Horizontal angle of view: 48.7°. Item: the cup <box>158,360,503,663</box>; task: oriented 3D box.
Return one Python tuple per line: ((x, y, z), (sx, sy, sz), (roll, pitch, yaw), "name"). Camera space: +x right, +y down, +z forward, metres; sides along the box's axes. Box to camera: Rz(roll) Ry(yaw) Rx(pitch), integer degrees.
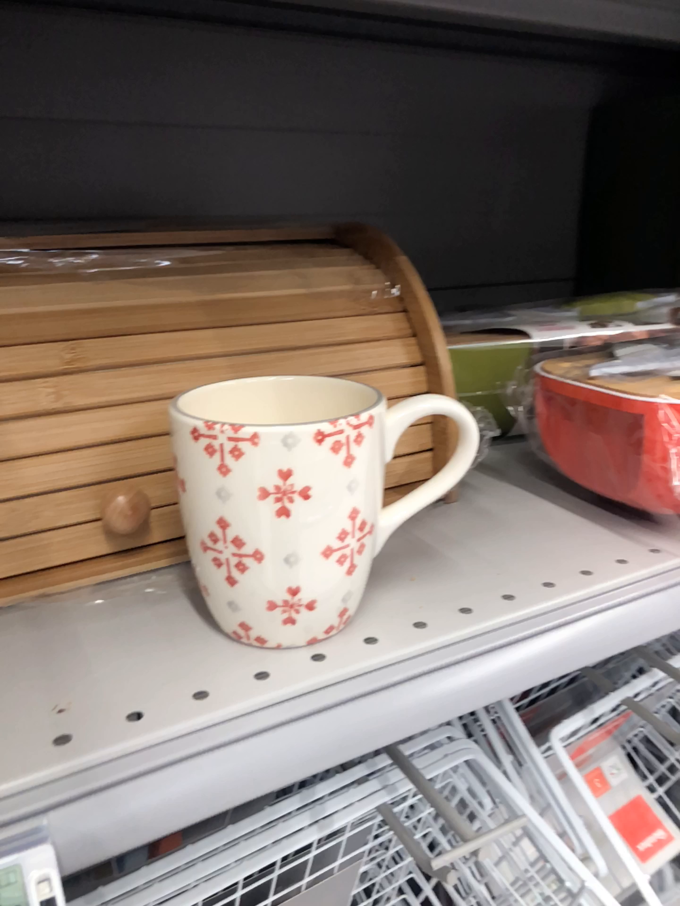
((-0.010, 0.016, 0.322), (0.124, 0.089, 0.090), (-5, 19, -14), "cup")
